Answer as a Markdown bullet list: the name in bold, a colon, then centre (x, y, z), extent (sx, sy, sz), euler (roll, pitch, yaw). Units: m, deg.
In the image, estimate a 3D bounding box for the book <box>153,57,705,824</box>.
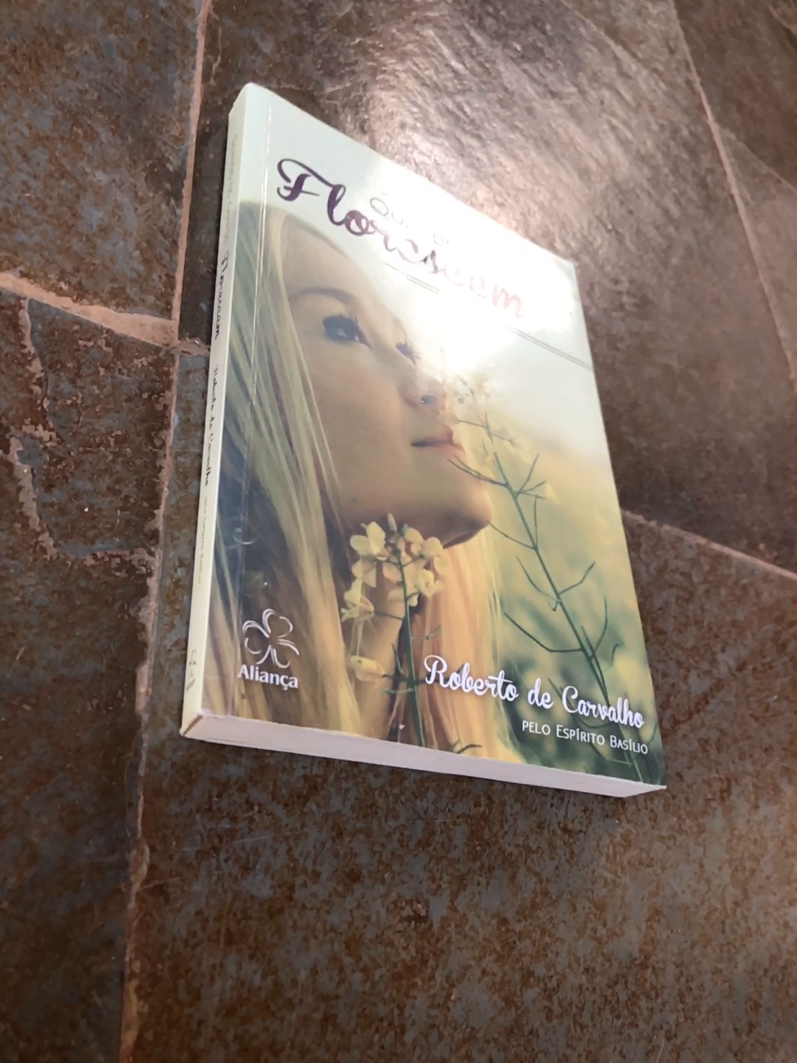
- **book**: centre (0.015, -0.032, 0.284), extent (0.162, 0.021, 0.226), euler (17, 56, -31)
